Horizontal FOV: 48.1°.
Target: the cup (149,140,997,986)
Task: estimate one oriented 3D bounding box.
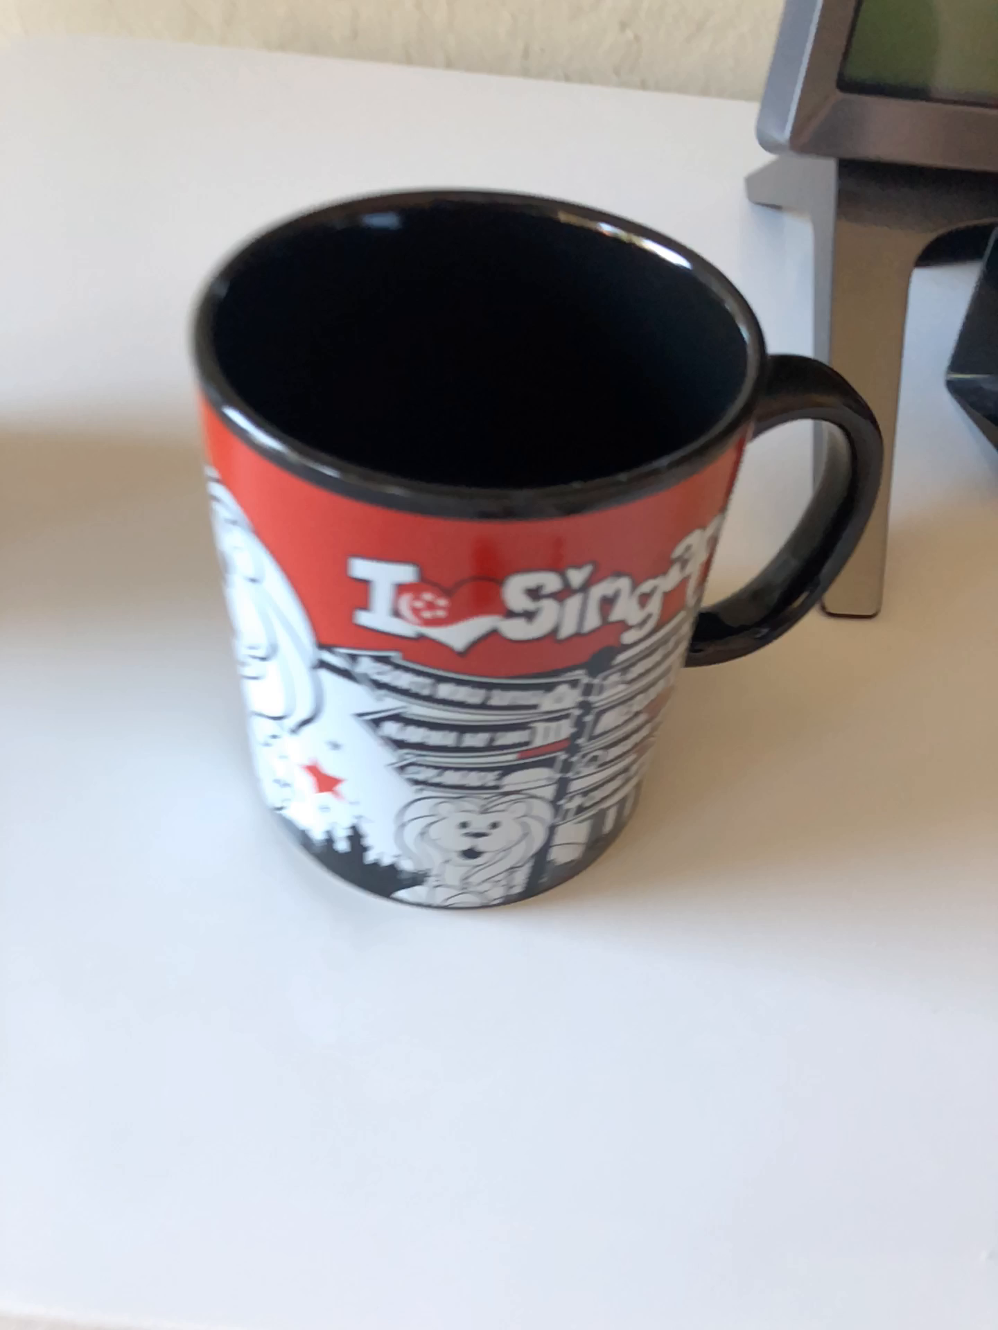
[{"bbox_3d":[0.011,-0.019,0.203,0.120,0.110,0.080,-11,49,-16],"label":"cup"}]
